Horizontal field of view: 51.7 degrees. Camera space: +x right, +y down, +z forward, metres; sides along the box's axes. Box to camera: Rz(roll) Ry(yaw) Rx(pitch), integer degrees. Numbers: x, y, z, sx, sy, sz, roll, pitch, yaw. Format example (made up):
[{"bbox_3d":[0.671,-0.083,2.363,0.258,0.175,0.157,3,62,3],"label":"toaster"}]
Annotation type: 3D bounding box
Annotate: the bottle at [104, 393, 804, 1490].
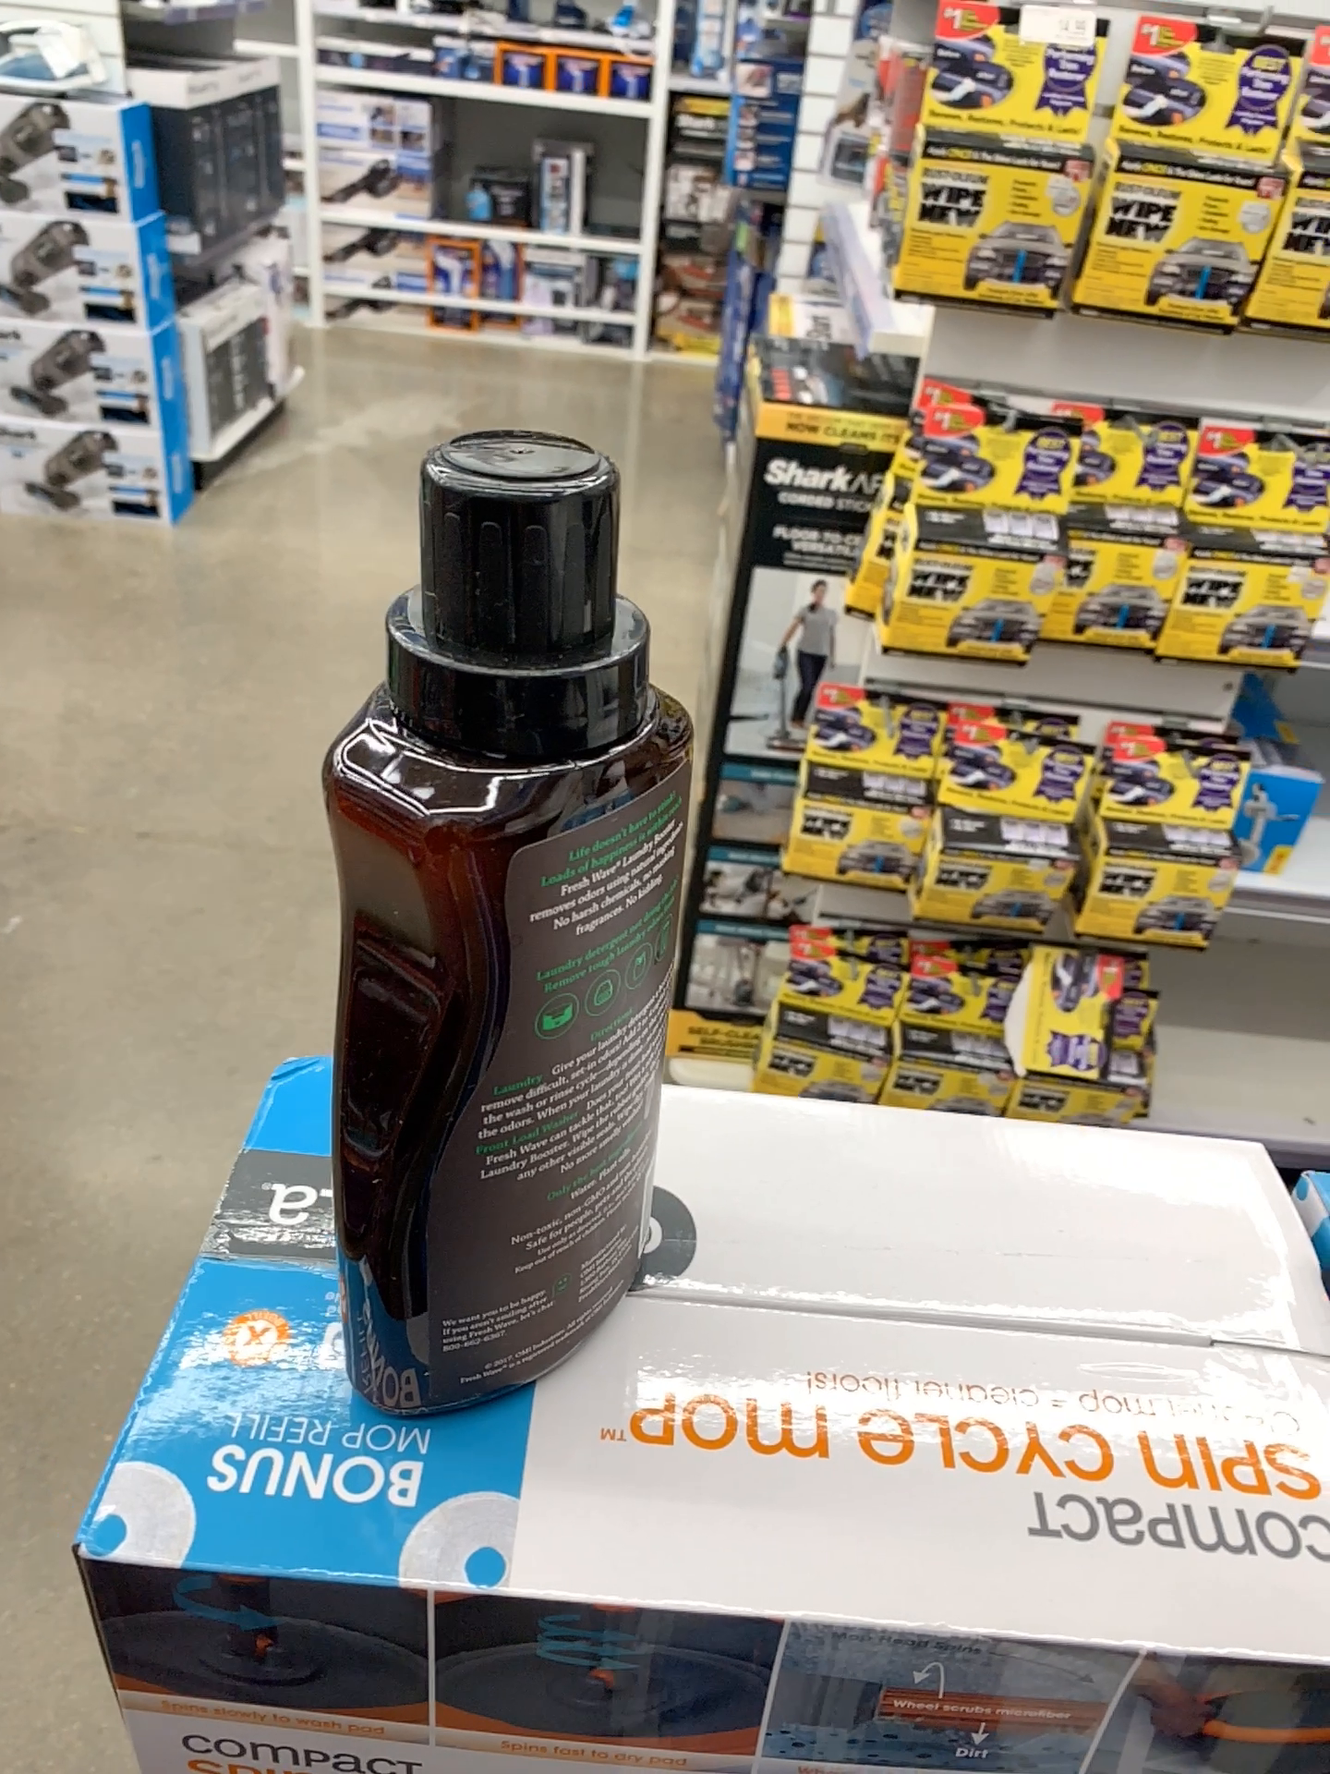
[{"bbox_3d":[-0.044,0.015,0.299,0.070,0.209,0.100,31,41,32],"label":"bottle"}]
